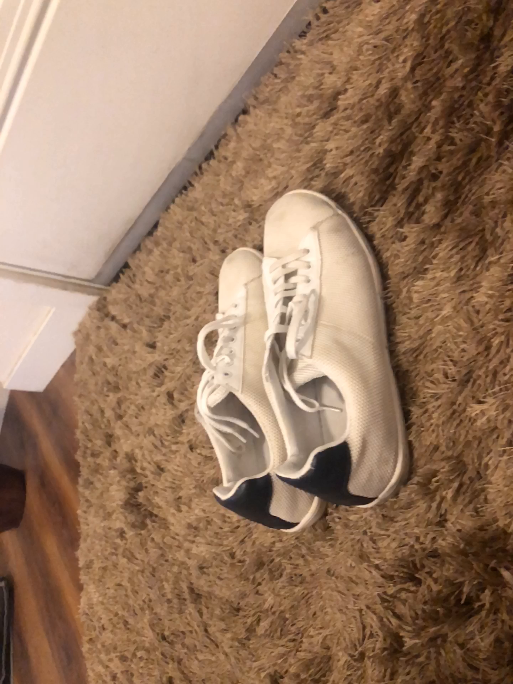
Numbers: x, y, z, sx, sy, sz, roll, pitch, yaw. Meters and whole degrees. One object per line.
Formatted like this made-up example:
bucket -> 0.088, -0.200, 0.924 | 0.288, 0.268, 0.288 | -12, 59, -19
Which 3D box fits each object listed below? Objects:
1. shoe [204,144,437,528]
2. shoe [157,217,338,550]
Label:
shoe -> 0.035, -0.005, 0.437 | 0.105, 0.079, 0.264 | -36, 54, 45
shoe -> -0.019, 0.034, 0.502 | 0.101, 0.079, 0.264 | -37, 54, 44
